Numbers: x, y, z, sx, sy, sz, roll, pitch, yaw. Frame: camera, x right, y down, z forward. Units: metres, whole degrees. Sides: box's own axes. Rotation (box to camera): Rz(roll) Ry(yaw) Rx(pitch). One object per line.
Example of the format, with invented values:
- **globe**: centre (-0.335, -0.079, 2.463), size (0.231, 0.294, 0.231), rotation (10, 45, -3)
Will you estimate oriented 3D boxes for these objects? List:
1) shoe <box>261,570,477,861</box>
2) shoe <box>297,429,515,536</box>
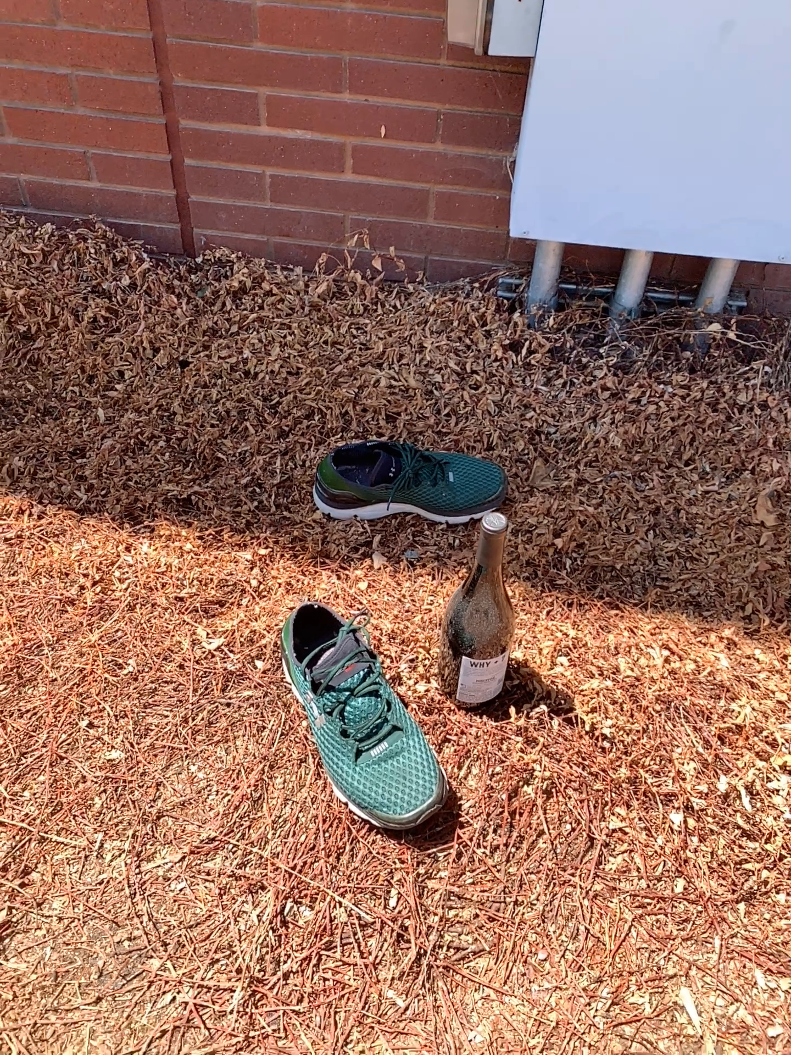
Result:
- **shoe**: centre (-0.039, 0.197, 0.899), size (0.110, 0.109, 0.281), rotation (-20, 51, -22)
- **shoe**: centre (0.011, -0.065, 1.190), size (0.300, 0.109, 0.111), rotation (0, 46, -4)
